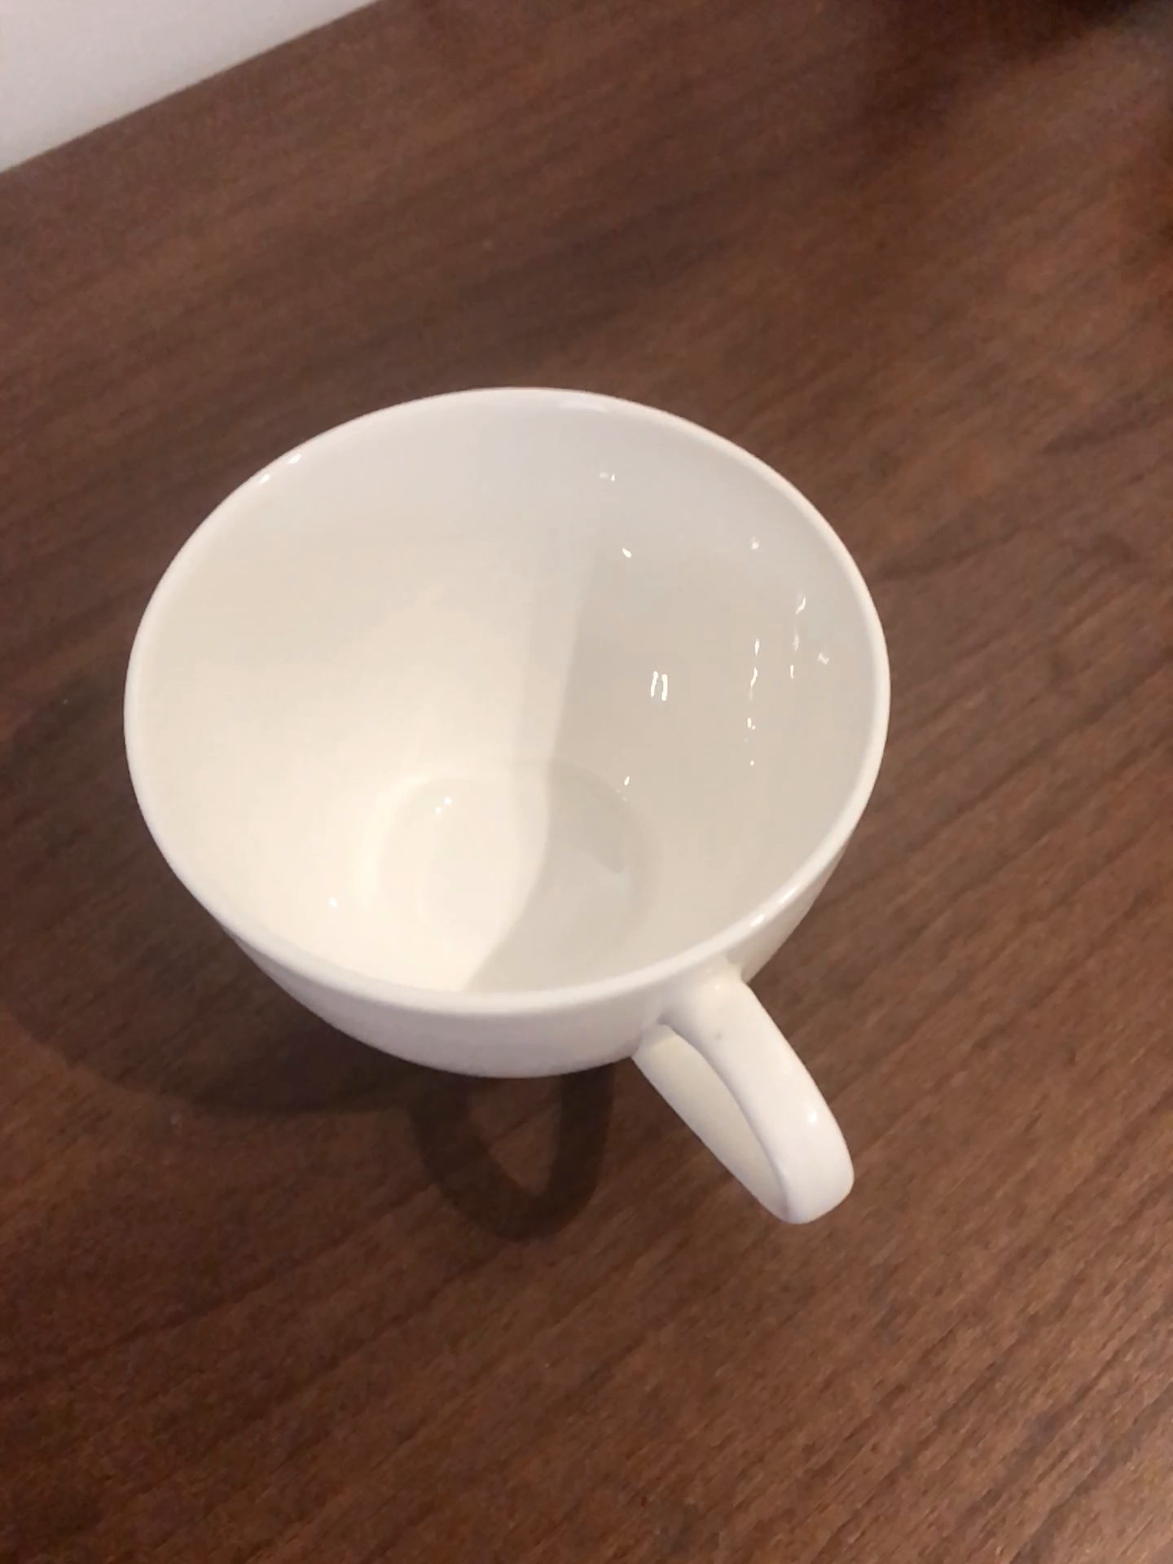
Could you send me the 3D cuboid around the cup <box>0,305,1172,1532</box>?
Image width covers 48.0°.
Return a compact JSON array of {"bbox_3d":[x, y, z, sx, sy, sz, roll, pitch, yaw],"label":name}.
[{"bbox_3d":[-0.003,0.014,0.169,0.090,0.070,0.110,-25,60,-14],"label":"cup"}]
